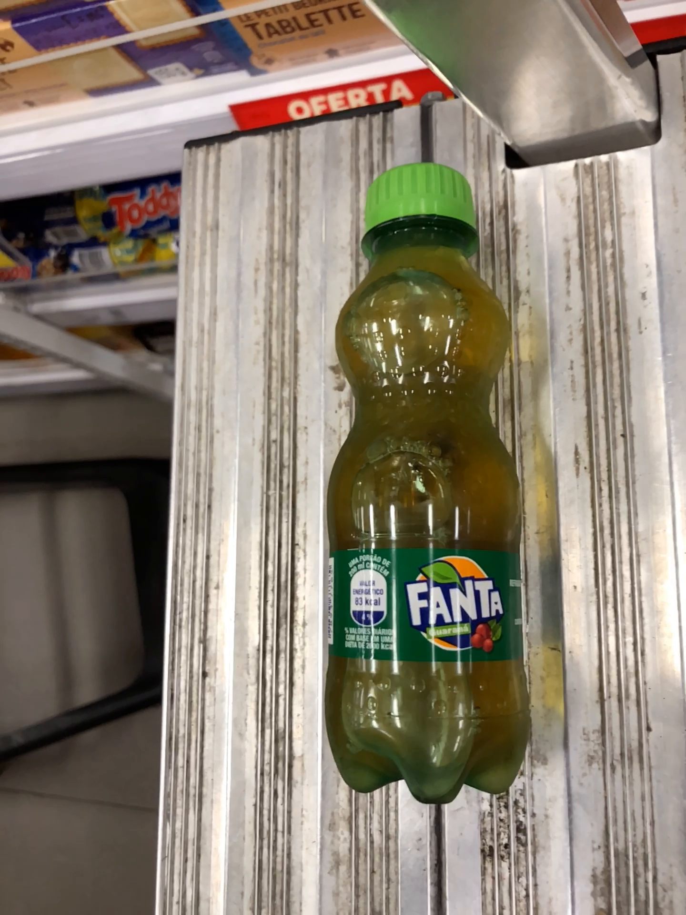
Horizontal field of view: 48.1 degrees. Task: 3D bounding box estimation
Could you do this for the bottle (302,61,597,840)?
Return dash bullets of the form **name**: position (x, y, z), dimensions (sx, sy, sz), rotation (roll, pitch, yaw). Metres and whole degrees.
- **bottle**: position (0.027, -0.003, 0.197), dimensions (0.050, 0.050, 0.170), rotation (162, 113, -63)
